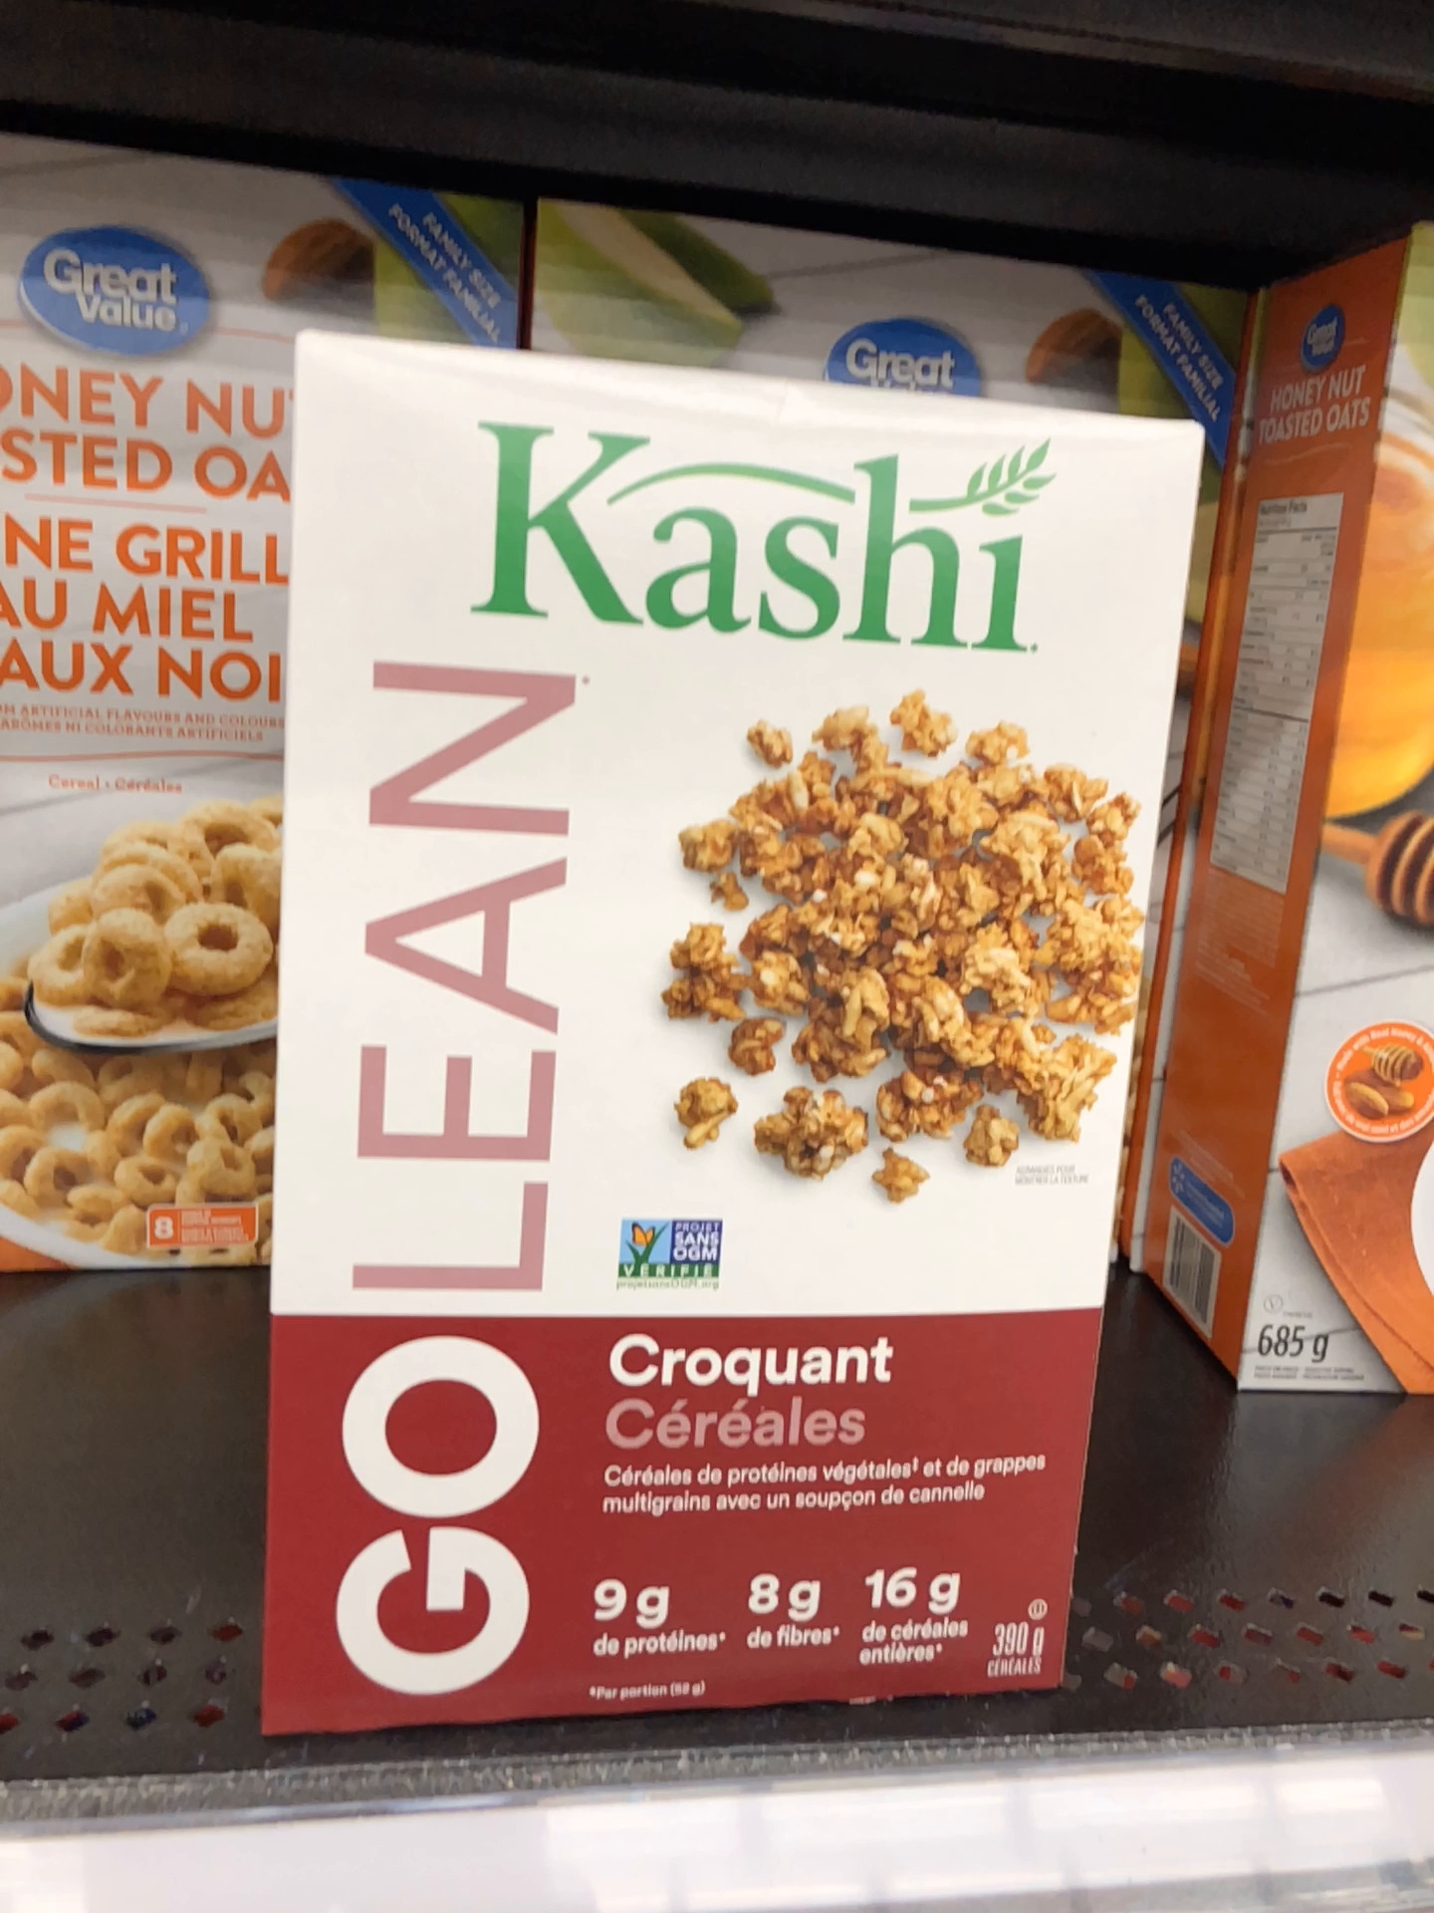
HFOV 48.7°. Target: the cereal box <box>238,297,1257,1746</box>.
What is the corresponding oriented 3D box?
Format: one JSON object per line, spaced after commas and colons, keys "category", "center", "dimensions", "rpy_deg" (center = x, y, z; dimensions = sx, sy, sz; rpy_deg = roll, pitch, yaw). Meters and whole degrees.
{"category": "cereal box", "center": [-0.002, 0.020, 0.314], "dimensions": [0.170, 0.259, 0.050], "rpy_deg": [2, 12, -11]}
